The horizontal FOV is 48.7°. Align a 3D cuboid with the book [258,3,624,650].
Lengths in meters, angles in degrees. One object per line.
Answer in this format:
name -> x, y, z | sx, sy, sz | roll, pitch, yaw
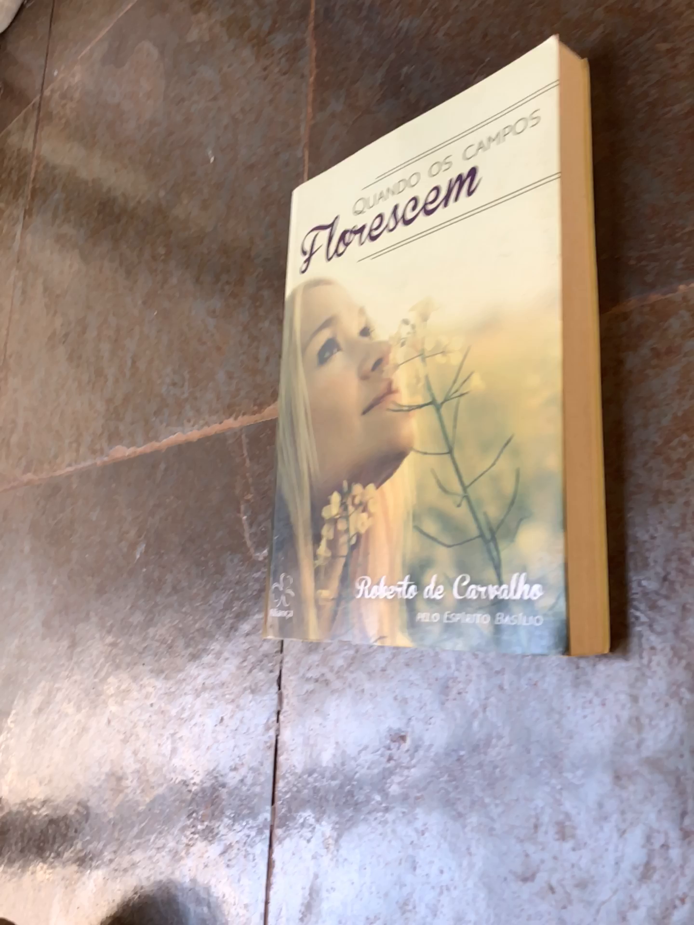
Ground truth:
book -> 0.028, -0.043, 0.315 | 0.161, 0.022, 0.225 | -11, 72, 46
